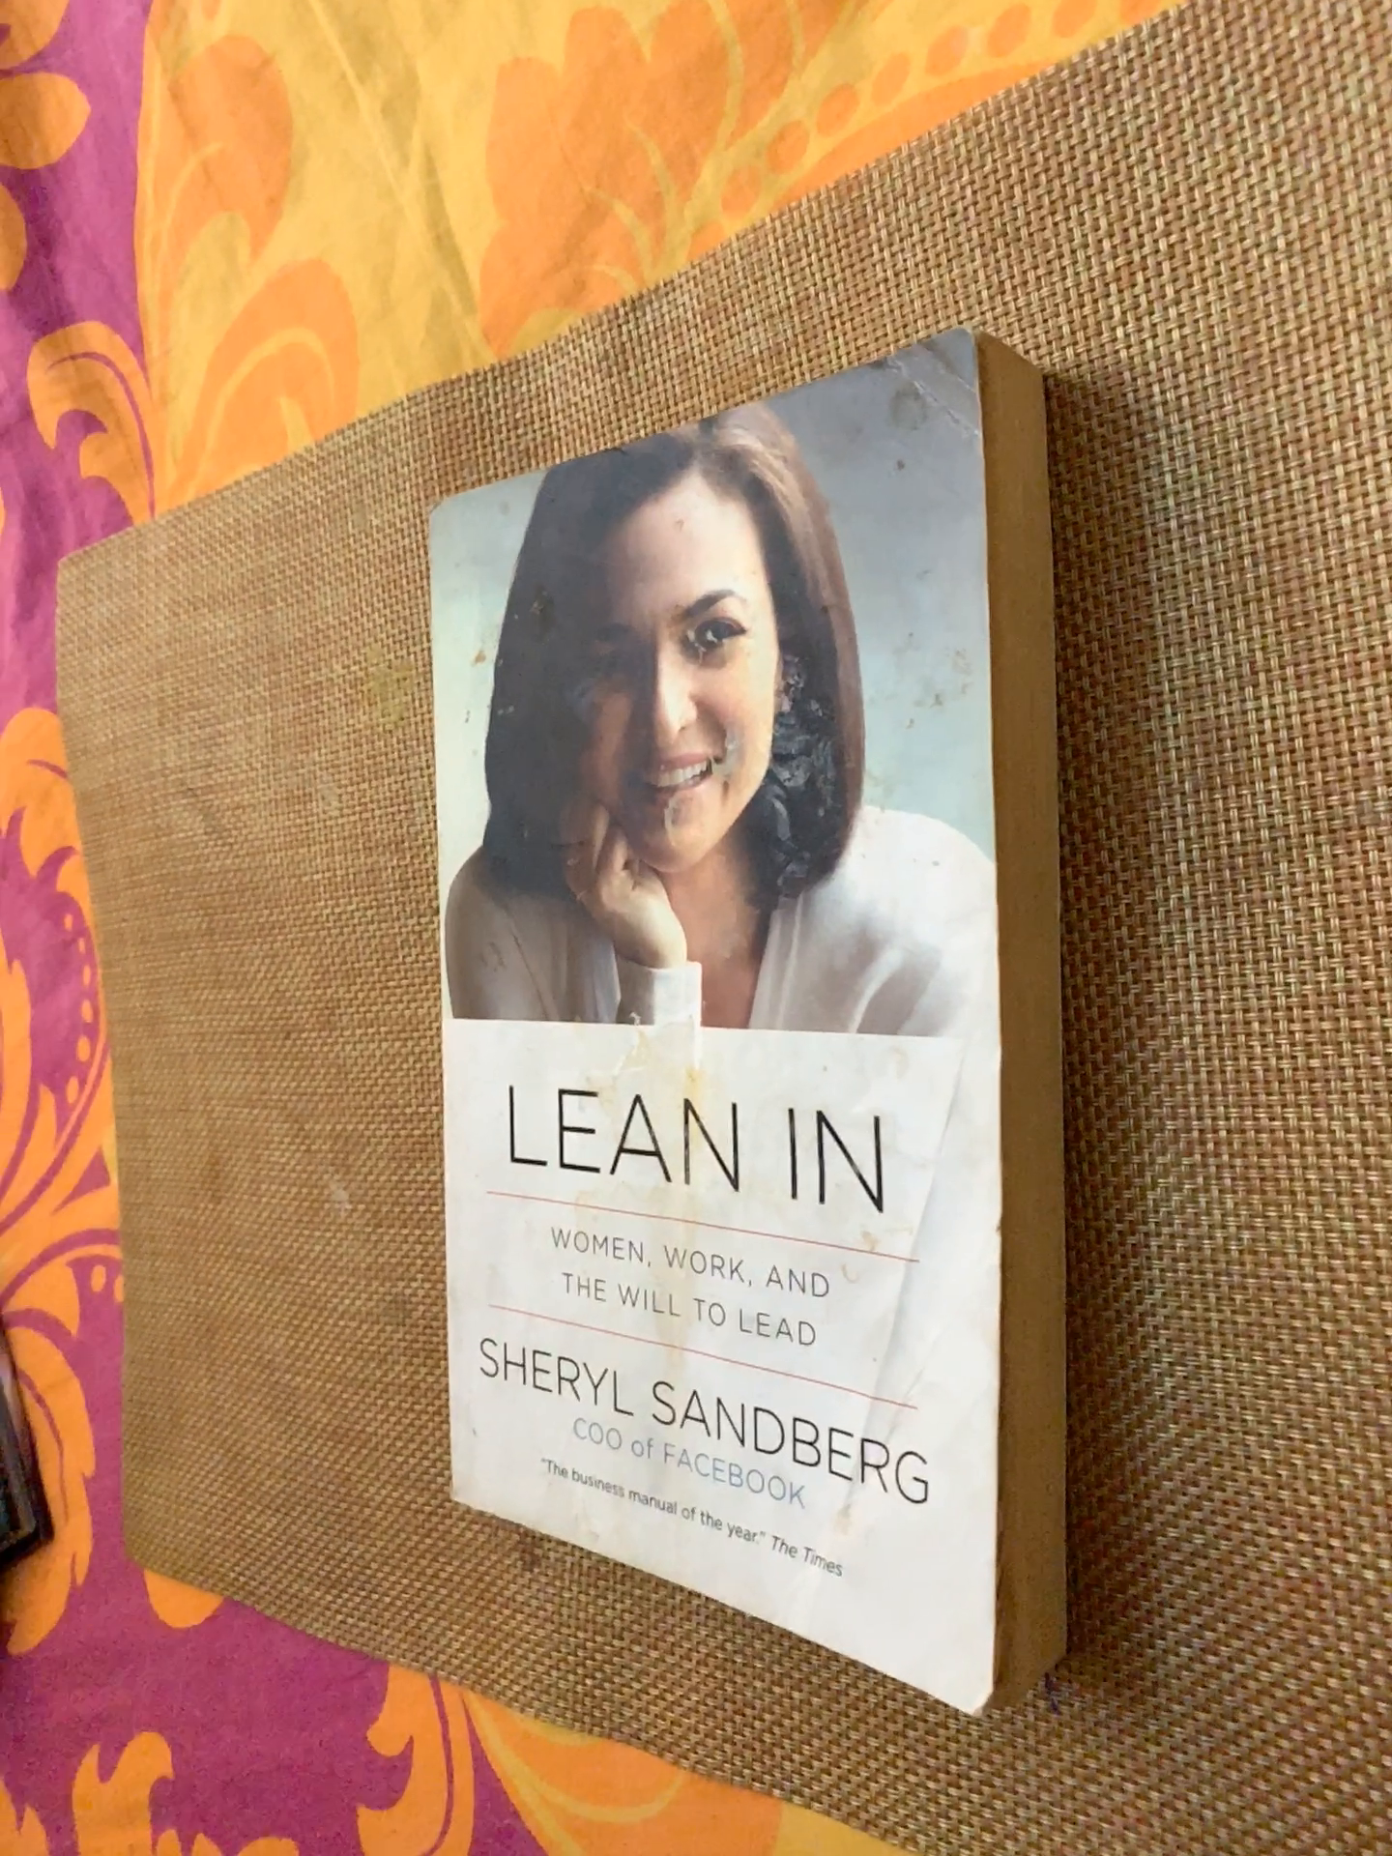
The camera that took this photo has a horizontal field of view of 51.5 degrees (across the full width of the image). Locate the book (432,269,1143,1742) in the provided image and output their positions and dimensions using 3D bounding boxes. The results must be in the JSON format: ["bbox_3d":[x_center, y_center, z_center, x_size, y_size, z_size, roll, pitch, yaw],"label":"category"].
[{"bbox_3d":[0.007,0.012,0.265,0.141,0.026,0.212,-3,87,42],"label":"book"}]
